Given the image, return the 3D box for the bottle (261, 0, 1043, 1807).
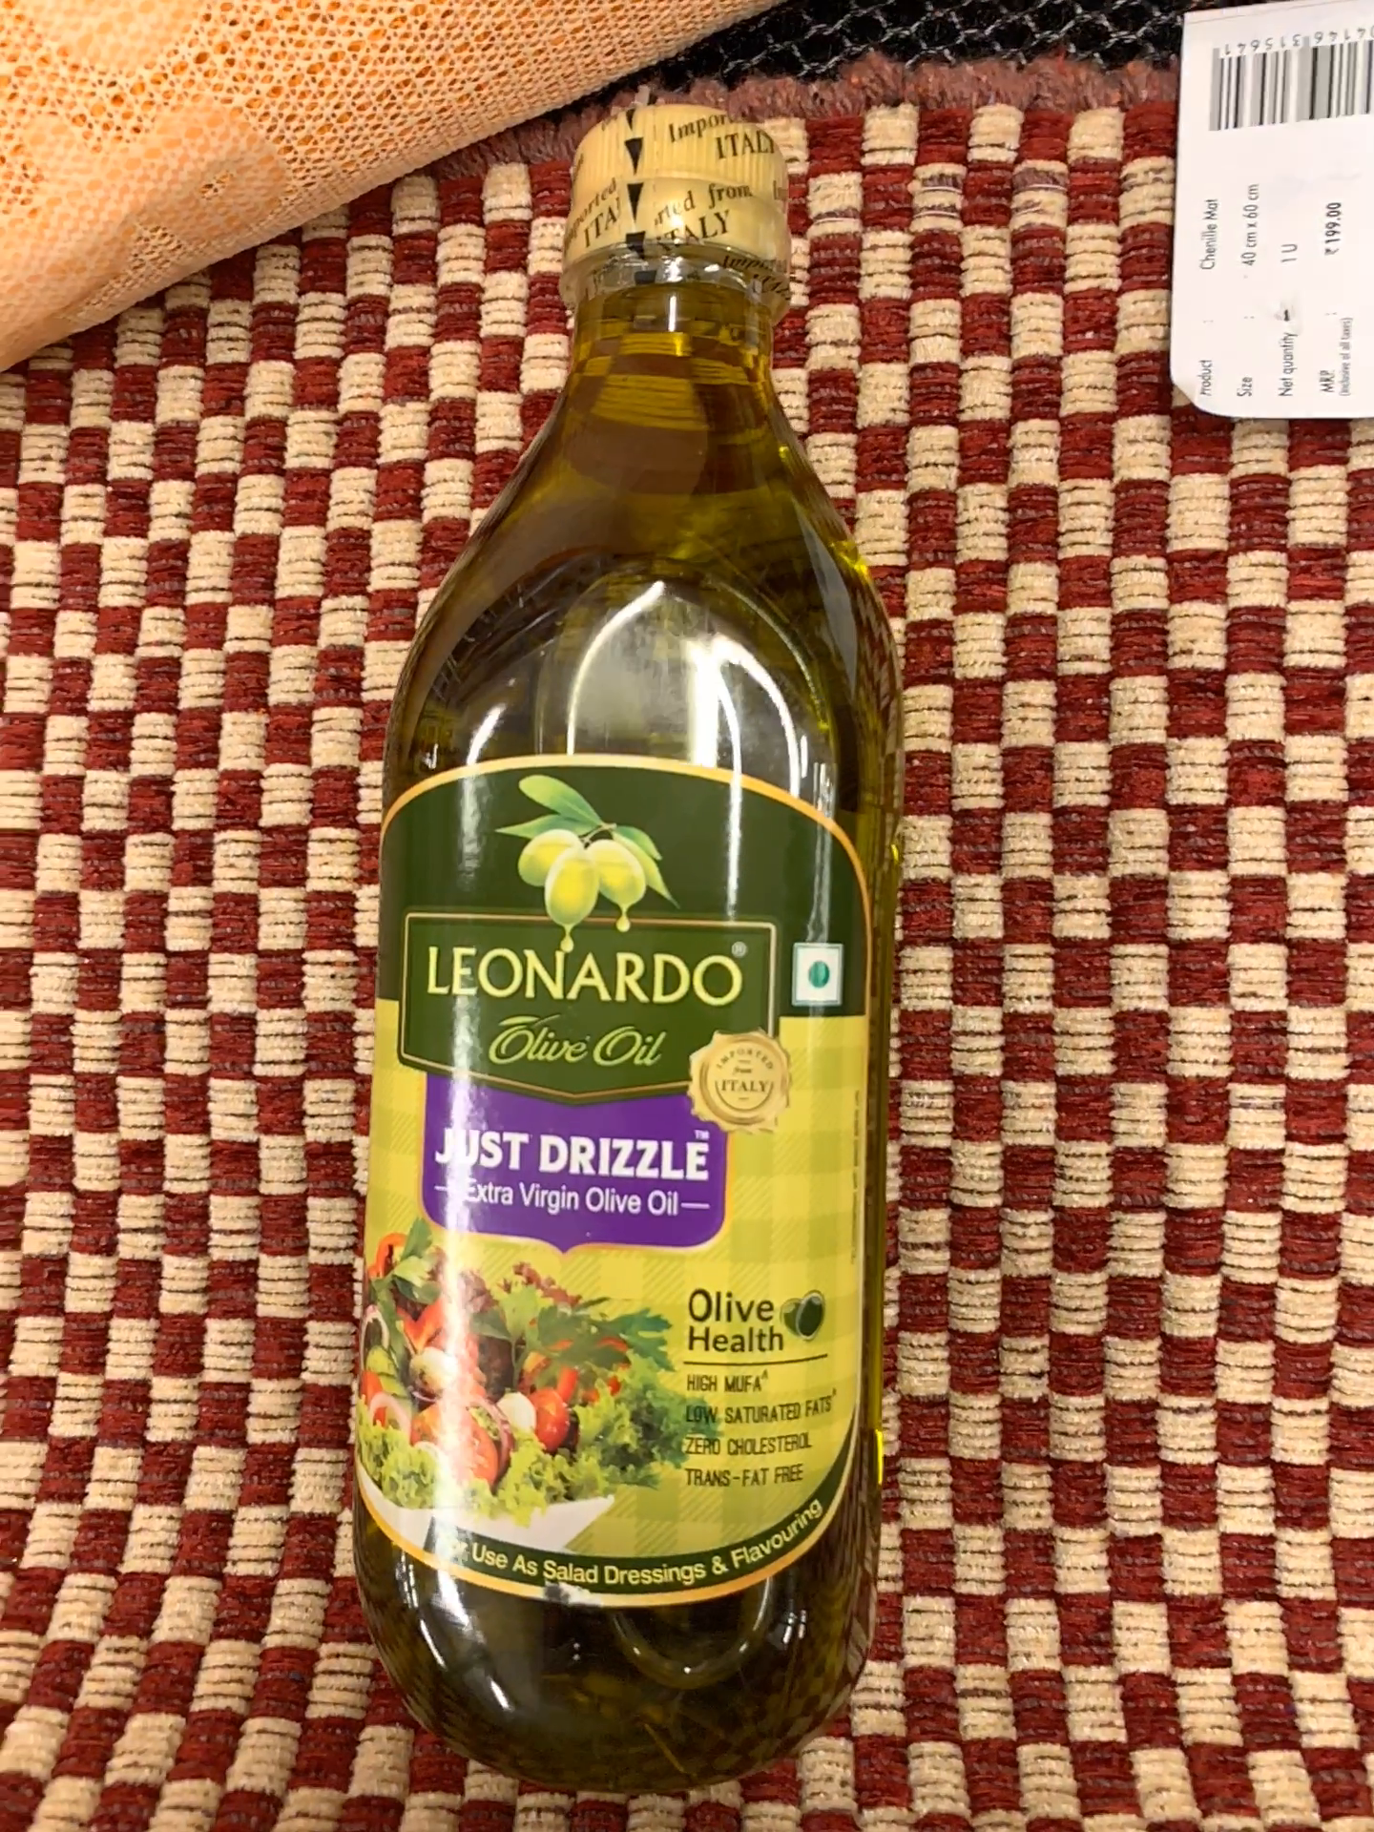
[{"bbox_3d":[-0.003,-0.014,0.209,0.080,0.070,0.240,4,89,1],"label":"bottle"}]
